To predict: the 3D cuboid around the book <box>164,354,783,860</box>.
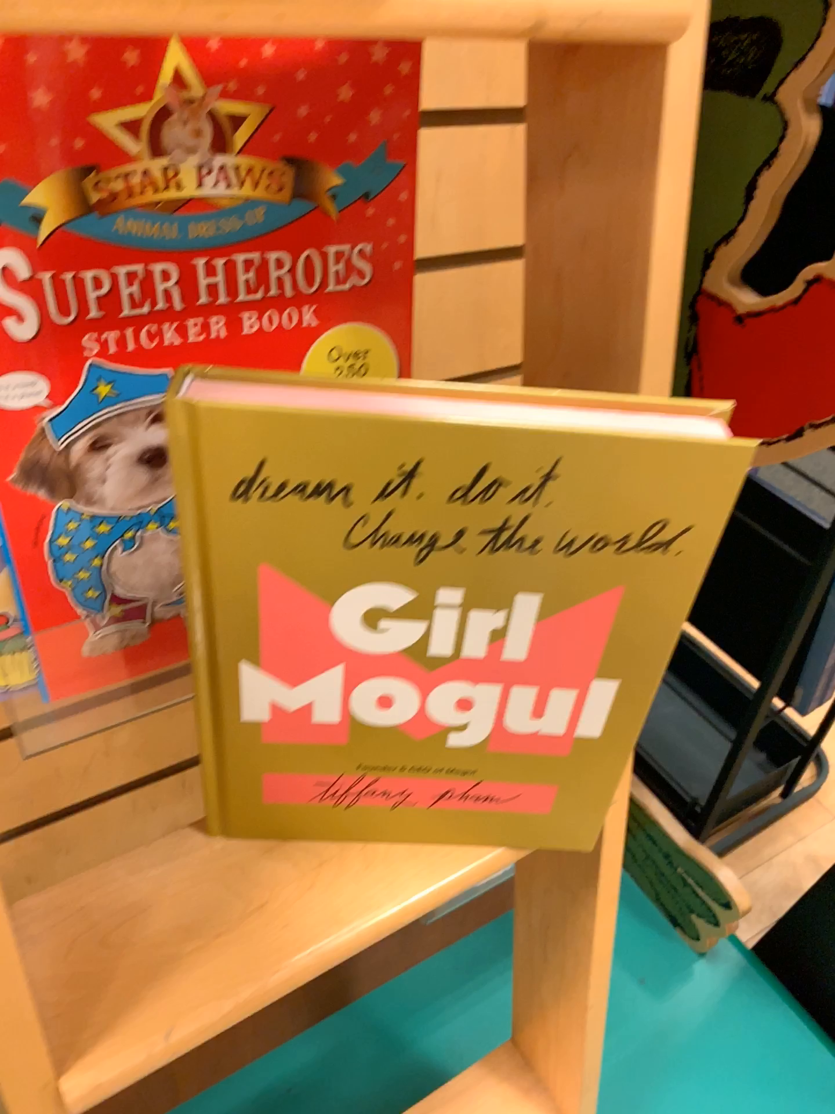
[{"bbox_3d":[0.007,0.038,0.328,0.180,0.219,0.030,3,39,-5],"label":"book"}]
